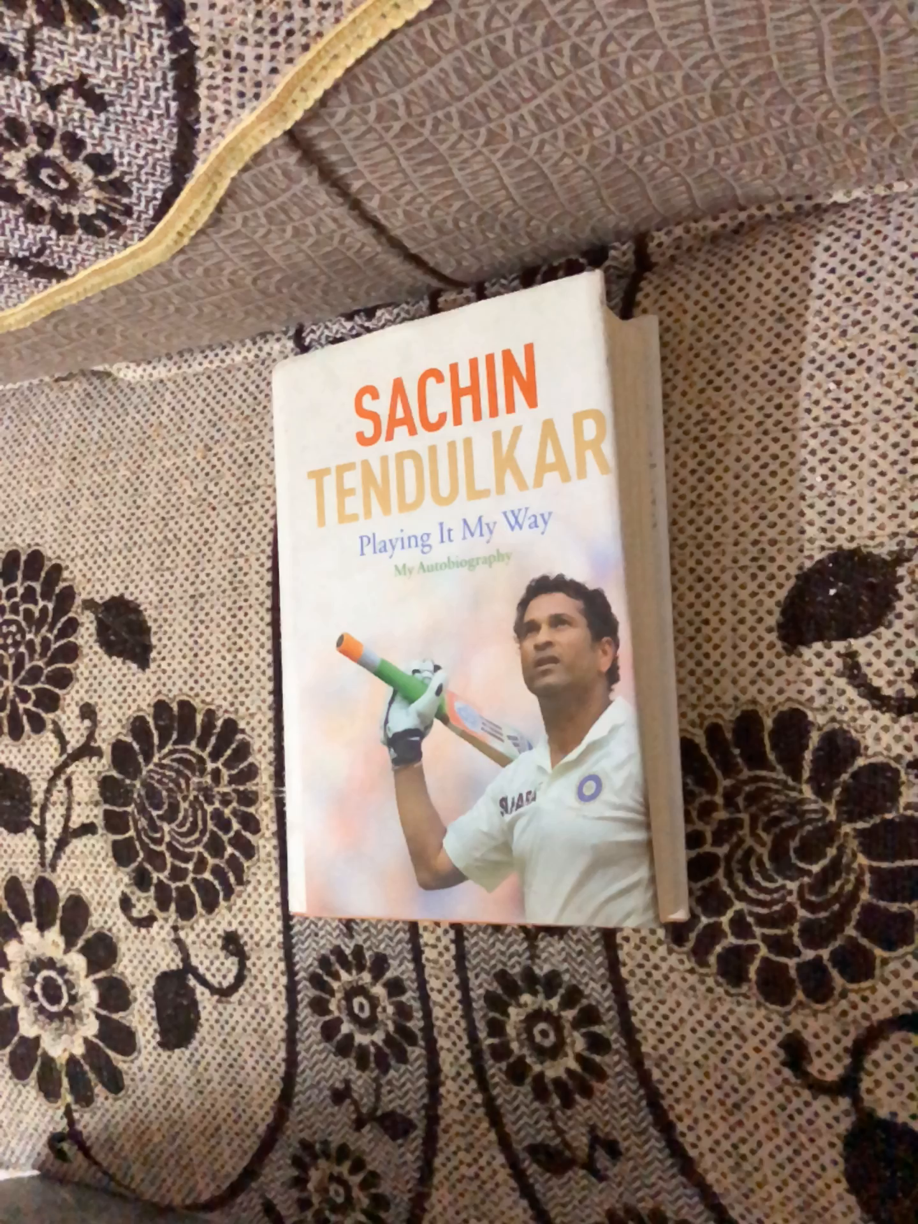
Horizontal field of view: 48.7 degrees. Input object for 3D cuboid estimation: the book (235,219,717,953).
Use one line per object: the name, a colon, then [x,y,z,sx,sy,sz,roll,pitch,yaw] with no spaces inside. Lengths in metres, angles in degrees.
book: [0.000,-0.003,0.426,0.180,0.070,0.260,-6,81,27]
